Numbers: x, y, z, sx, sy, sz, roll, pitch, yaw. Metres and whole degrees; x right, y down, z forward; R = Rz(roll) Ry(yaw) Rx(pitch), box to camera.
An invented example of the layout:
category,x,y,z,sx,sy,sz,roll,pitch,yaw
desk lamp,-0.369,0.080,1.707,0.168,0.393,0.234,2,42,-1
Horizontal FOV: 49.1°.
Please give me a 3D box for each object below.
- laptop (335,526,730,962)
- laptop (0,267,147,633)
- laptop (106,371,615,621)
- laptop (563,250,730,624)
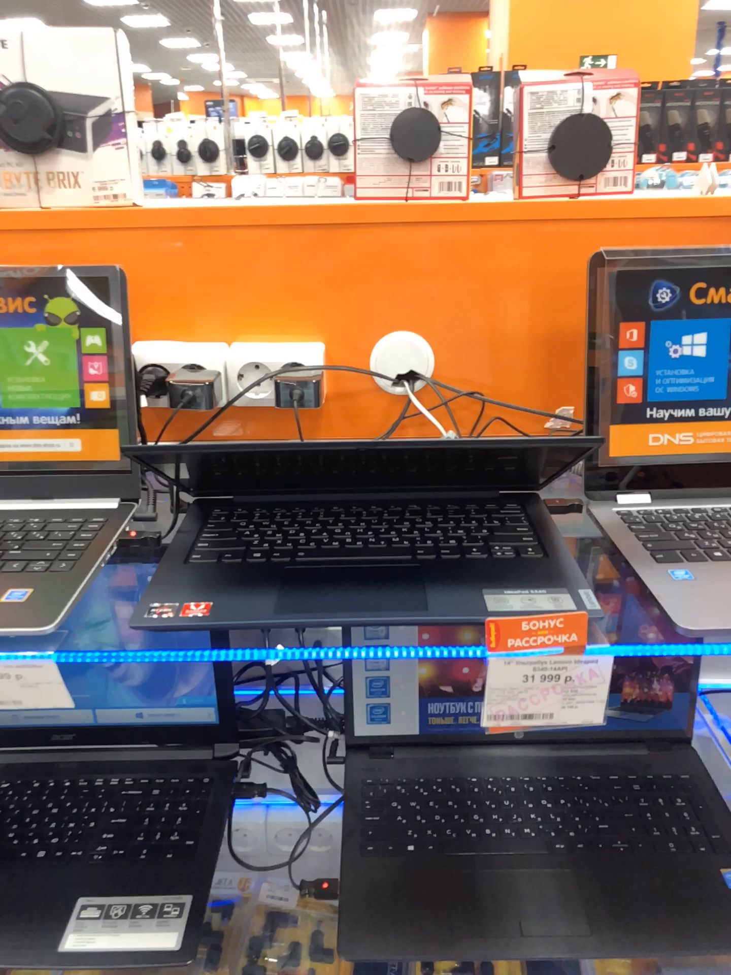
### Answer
category,x,y,z,sx,sy,sz,roll,pitch,yaw
laptop,0.164,0.204,0.700,0.354,0.227,0.259,-2,23,2
laptop,-0.366,-0.047,0.604,0.302,0.200,0.251,-1,22,1
laptop,-0.003,-0.004,0.587,0.302,0.108,0.204,-1,21,2
laptop,0.357,-0.059,0.595,0.330,0.203,0.258,-2,21,-3
